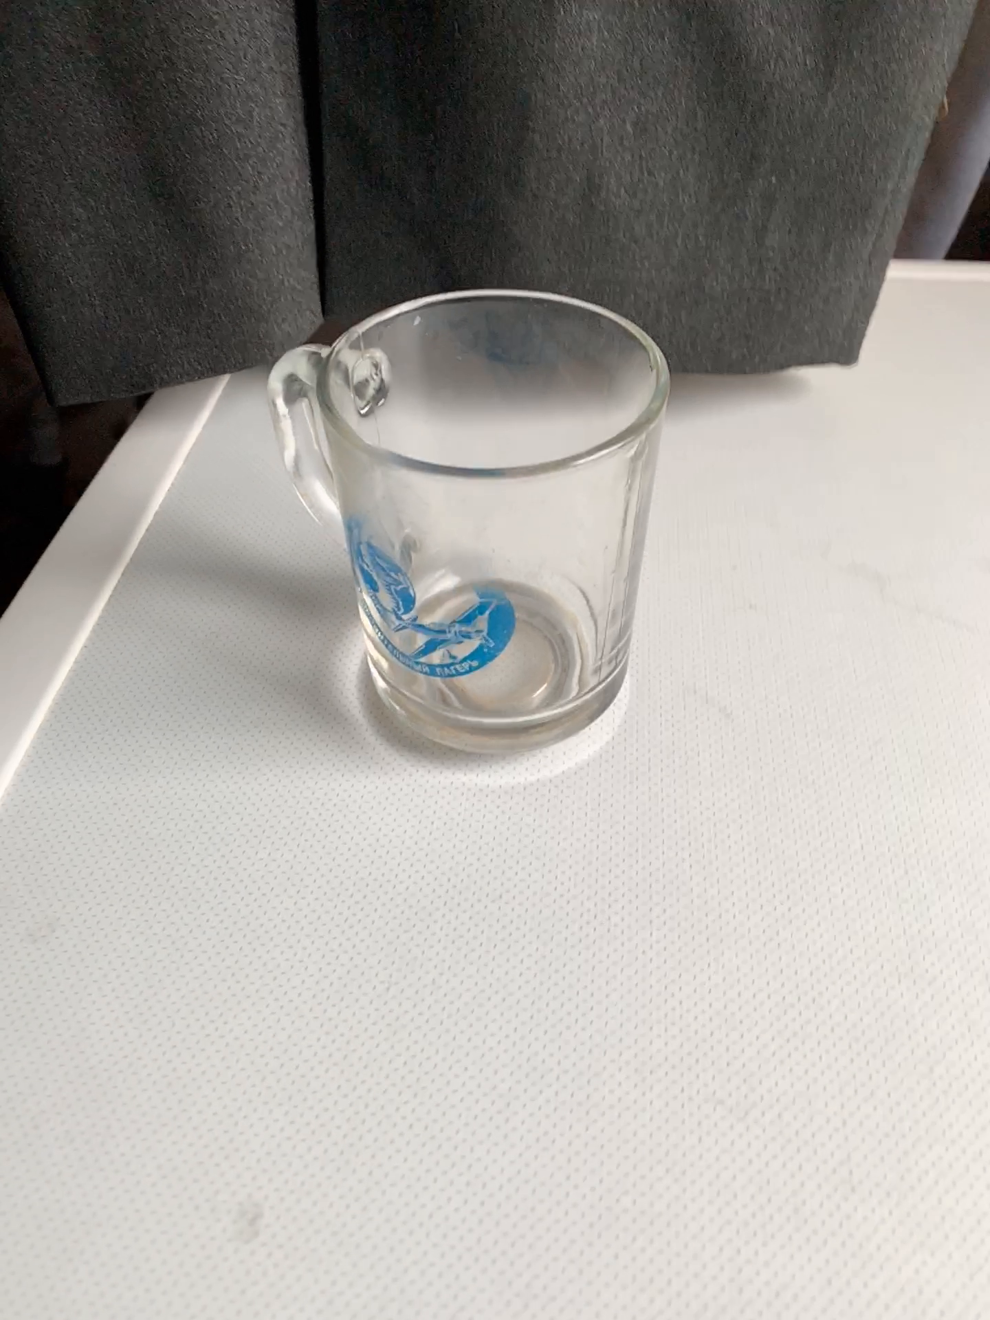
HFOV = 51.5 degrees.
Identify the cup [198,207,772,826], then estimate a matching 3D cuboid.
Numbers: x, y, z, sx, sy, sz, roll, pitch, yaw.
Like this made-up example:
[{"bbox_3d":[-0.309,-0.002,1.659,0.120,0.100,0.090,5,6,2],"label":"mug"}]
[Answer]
[{"bbox_3d":[-0.003,-0.035,0.234,0.090,0.089,0.070,34,55,31],"label":"cup"}]
